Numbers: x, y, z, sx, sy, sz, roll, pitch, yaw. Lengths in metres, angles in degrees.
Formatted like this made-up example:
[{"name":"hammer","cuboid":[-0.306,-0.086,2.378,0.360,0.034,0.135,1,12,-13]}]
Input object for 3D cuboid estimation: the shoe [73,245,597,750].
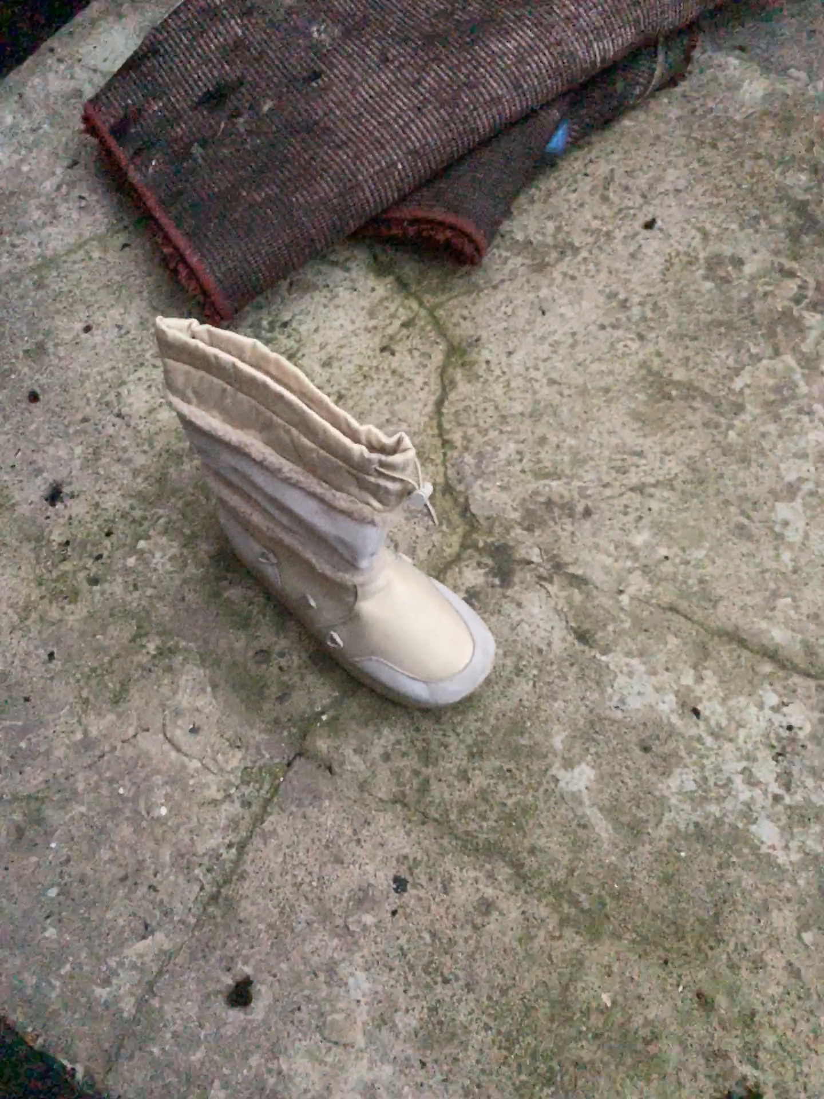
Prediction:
[{"name":"shoe","cuboid":[-0.045,-0.007,0.602,0.270,0.309,0.120,36,74,12]}]
